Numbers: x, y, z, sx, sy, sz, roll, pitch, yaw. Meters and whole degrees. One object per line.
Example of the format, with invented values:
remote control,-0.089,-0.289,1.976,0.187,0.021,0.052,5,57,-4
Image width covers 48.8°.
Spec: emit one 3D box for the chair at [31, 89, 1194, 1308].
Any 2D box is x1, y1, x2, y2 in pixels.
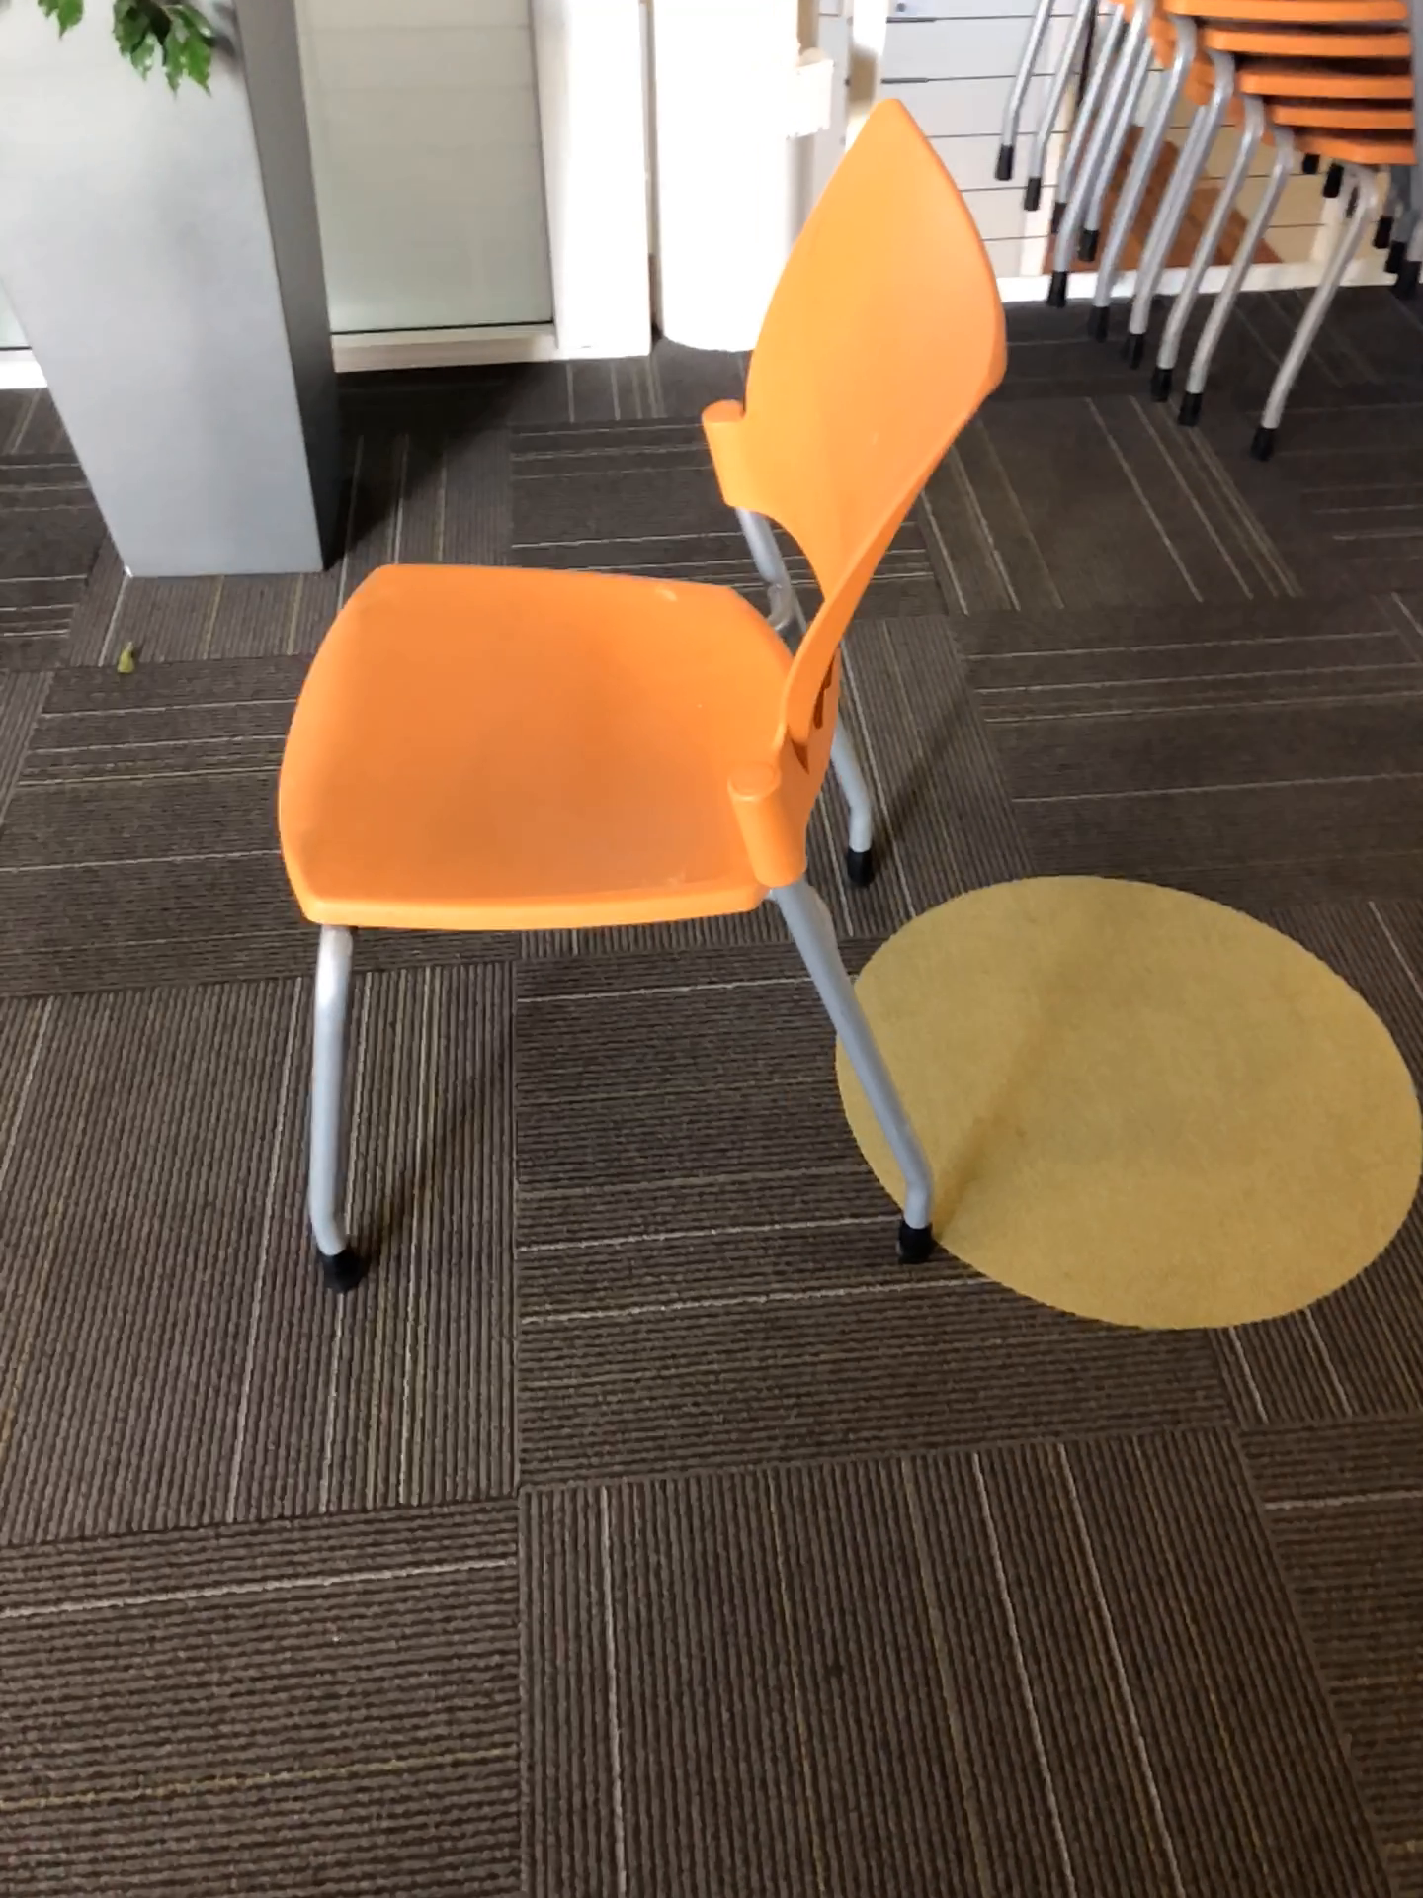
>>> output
chair,-0.066,-0.202,1.312,0.610,0.747,0.643,-3,45,-2
